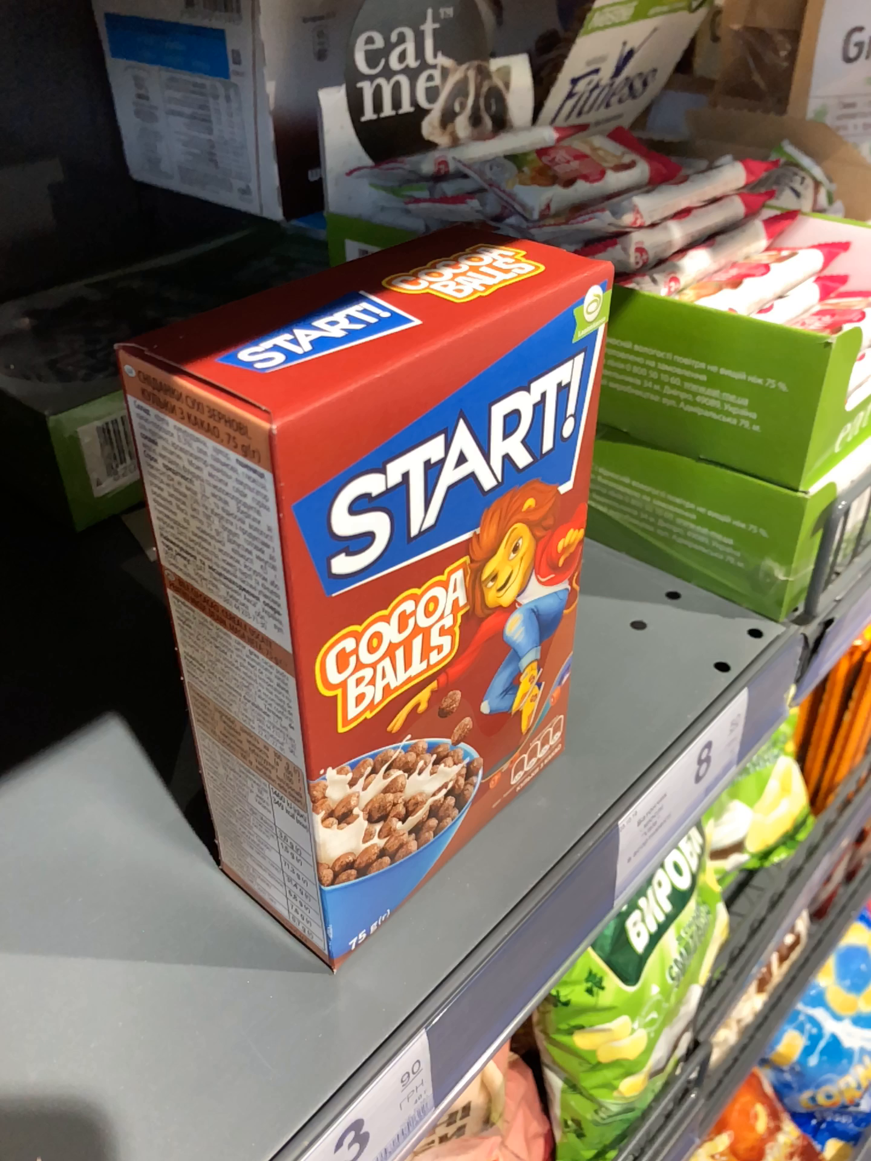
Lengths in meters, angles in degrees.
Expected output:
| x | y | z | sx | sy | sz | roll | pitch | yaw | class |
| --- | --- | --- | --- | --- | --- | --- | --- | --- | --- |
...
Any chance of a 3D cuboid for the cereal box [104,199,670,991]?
| x | y | z | sx | sy | sz | roll | pitch | yaw | class |
| --- | --- | --- | --- | --- | --- | --- | --- | --- | --- |
| -0.006 | 0.005 | 0.256 | 0.060 | 0.169 | 0.111 | 29 | 45 | 31 | cereal box |
